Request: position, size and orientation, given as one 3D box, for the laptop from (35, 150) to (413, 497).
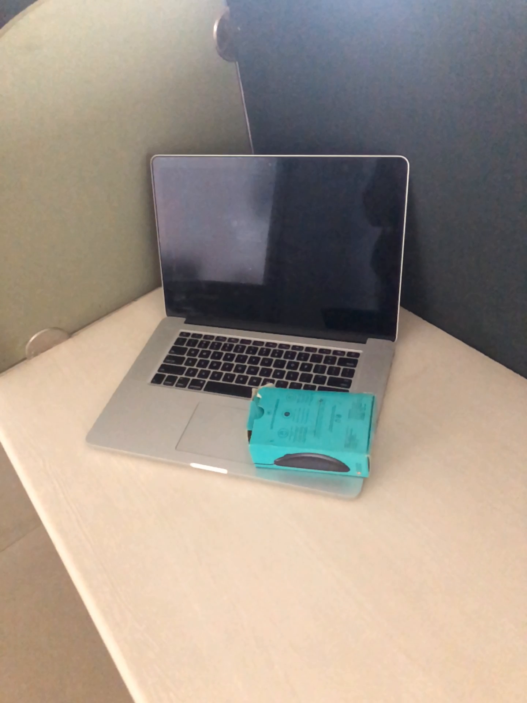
[{"bbox_3d":[-0.014,-0.064,0.708,0.329,0.200,0.340,8,48,21],"label":"laptop"}]
